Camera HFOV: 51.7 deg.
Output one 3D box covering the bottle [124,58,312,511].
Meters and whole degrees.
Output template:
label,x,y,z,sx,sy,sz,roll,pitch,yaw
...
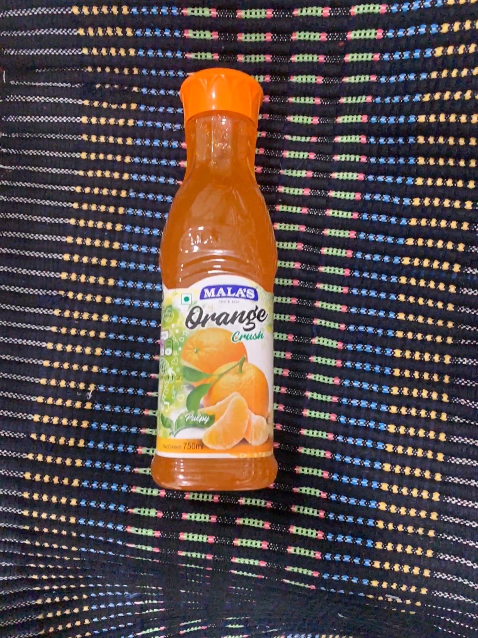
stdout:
label,x,y,z,sx,sy,sz,roll,pitch,yaw
bottle,-0.009,-0.017,0.279,0.080,0.080,0.220,3,82,-3
